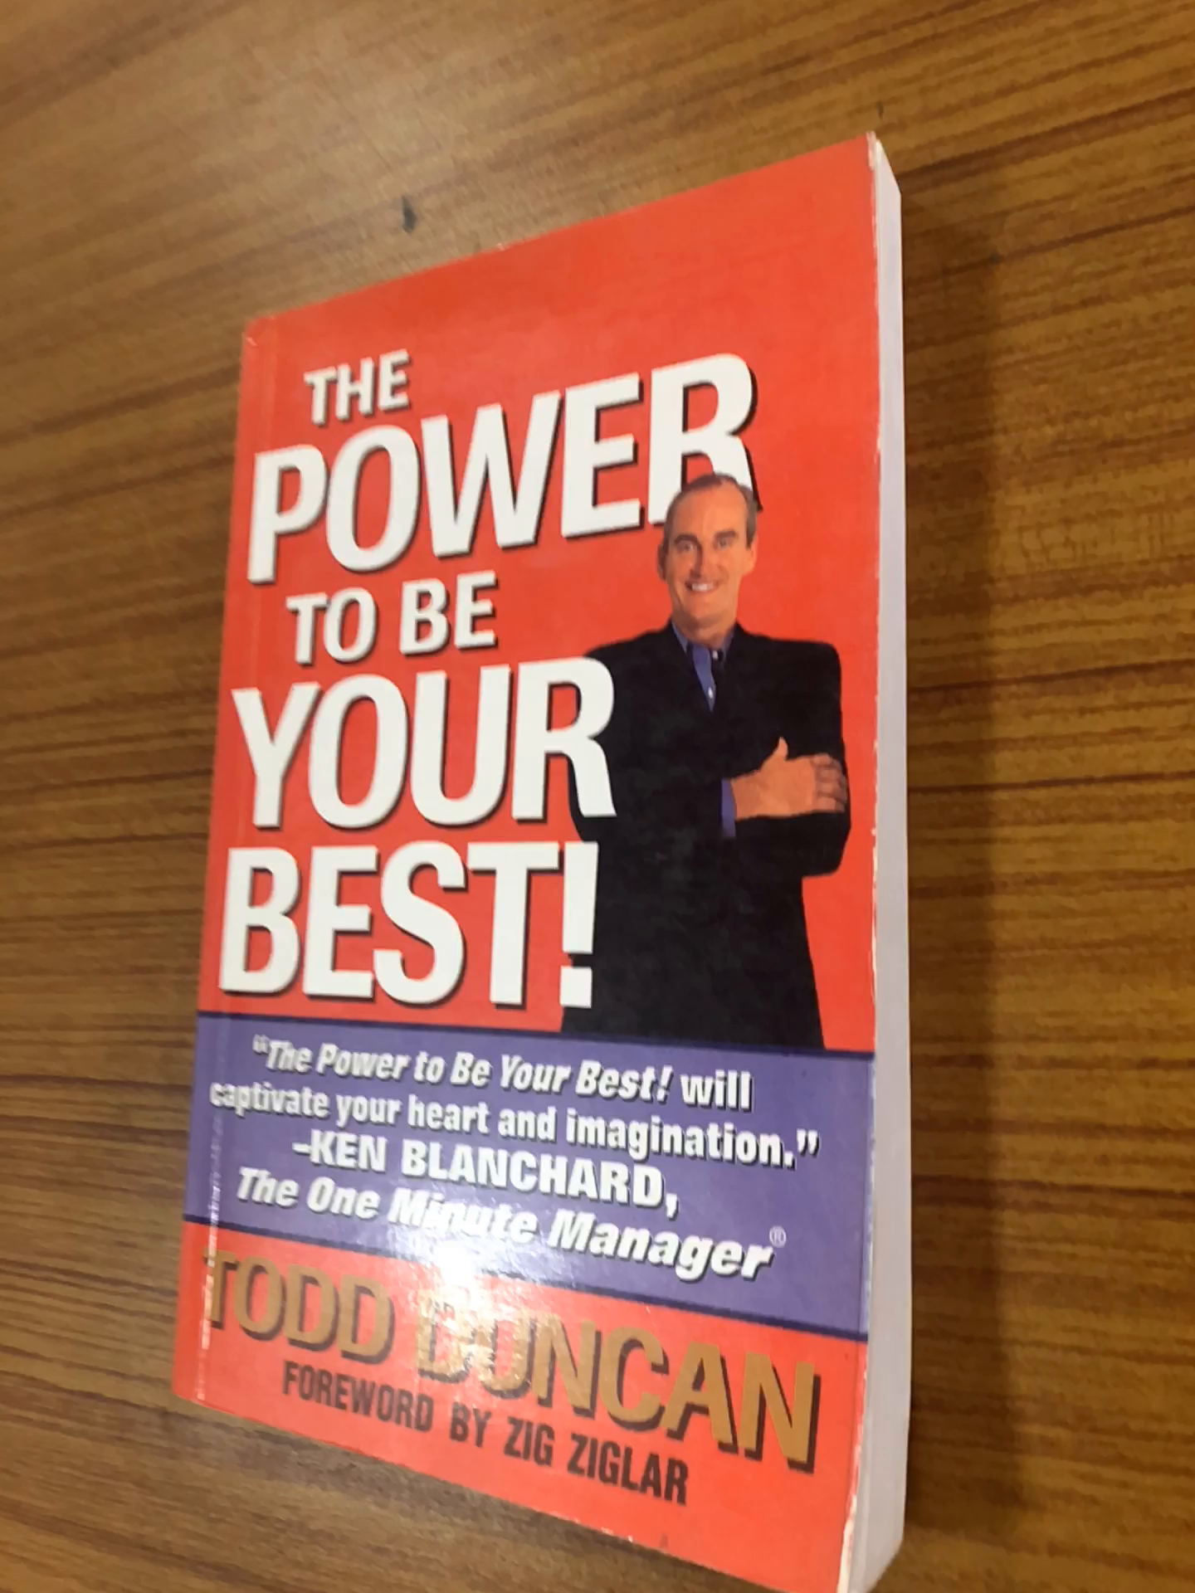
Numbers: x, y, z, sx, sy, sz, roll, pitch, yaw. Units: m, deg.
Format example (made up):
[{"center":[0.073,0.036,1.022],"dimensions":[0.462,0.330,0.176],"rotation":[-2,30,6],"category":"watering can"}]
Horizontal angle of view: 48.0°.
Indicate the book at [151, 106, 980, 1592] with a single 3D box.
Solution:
[{"center":[-0.010,0.007,0.245],"dimensions":[0.150,0.030,0.220],"rotation":[-2,82,31],"category":"book"}]
